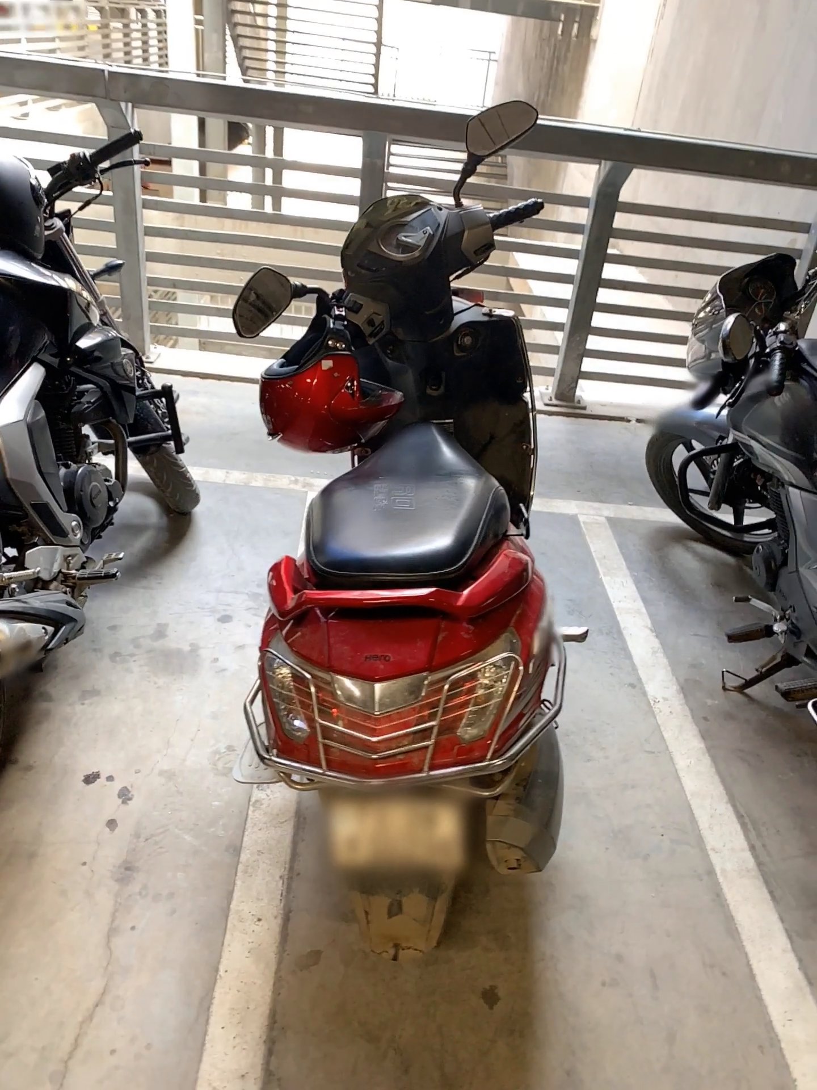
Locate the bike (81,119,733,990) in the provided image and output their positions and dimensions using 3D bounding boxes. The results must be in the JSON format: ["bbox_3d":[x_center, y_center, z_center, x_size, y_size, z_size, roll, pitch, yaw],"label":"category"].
[{"bbox_3d":[-0.083,-0.211,1.997,0.724,1.164,1.859,5,33,-5],"label":"bike"}]
